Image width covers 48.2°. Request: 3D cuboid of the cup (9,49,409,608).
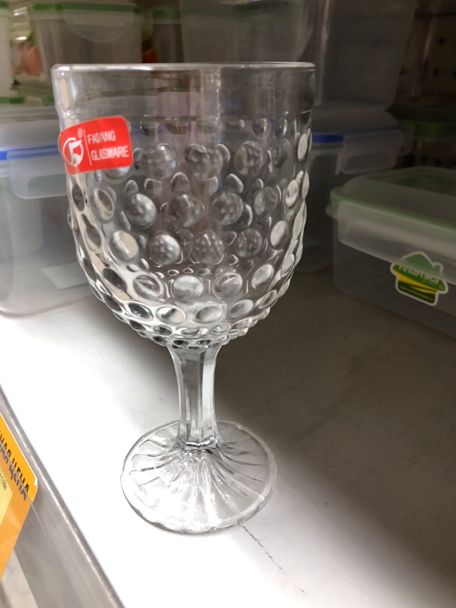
[{"bbox_3d":[-0.009,0.000,0.182,0.086,0.160,0.081,1,25,0],"label":"cup"}]
